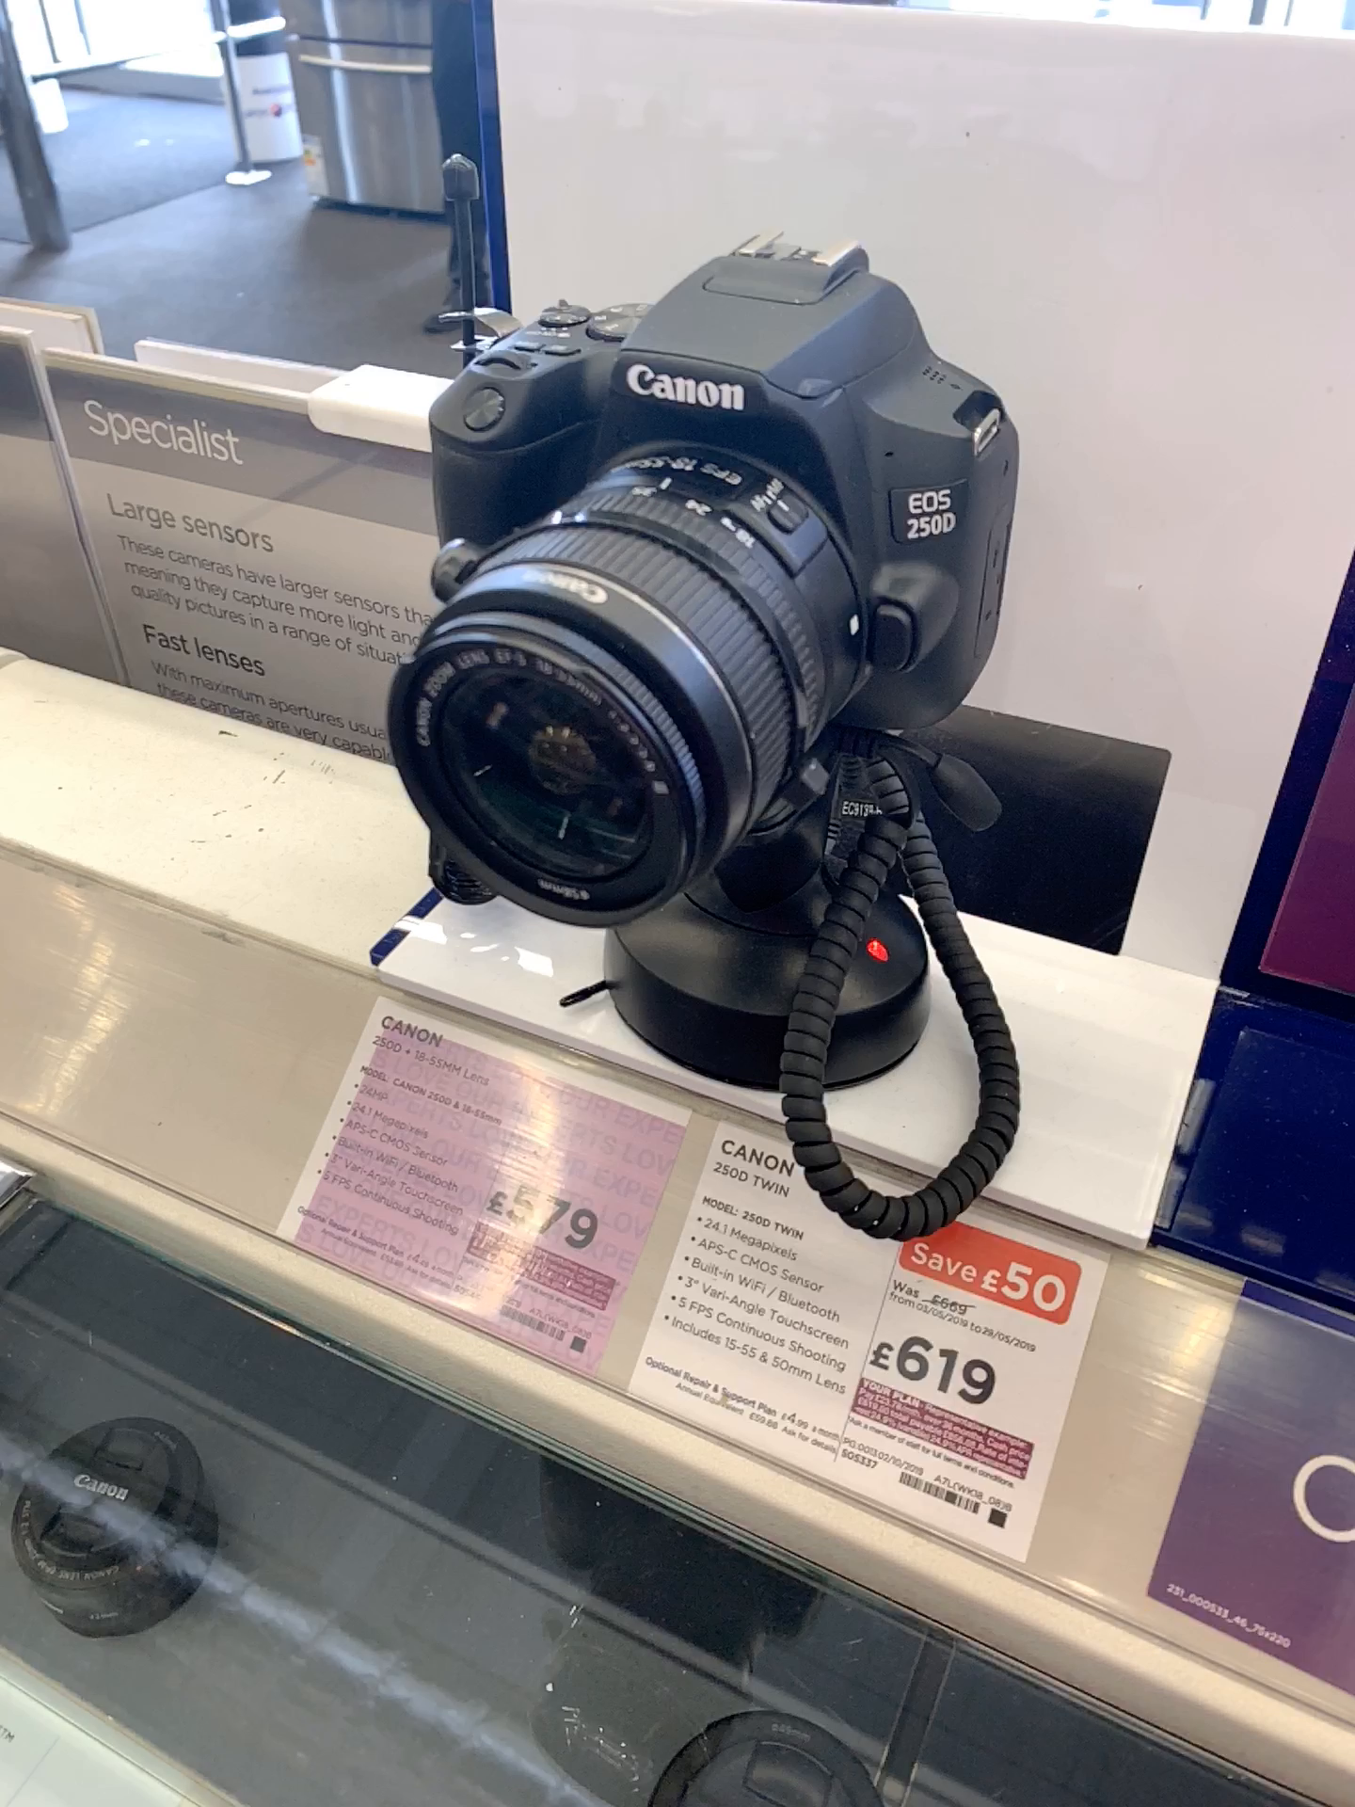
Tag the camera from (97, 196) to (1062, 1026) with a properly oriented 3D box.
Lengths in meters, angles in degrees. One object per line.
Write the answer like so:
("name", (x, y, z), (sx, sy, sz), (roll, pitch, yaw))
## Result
("camera", (-0.007, -0.070, 0.275), (0.120, 0.089, 0.141), (16, 42, 19))
